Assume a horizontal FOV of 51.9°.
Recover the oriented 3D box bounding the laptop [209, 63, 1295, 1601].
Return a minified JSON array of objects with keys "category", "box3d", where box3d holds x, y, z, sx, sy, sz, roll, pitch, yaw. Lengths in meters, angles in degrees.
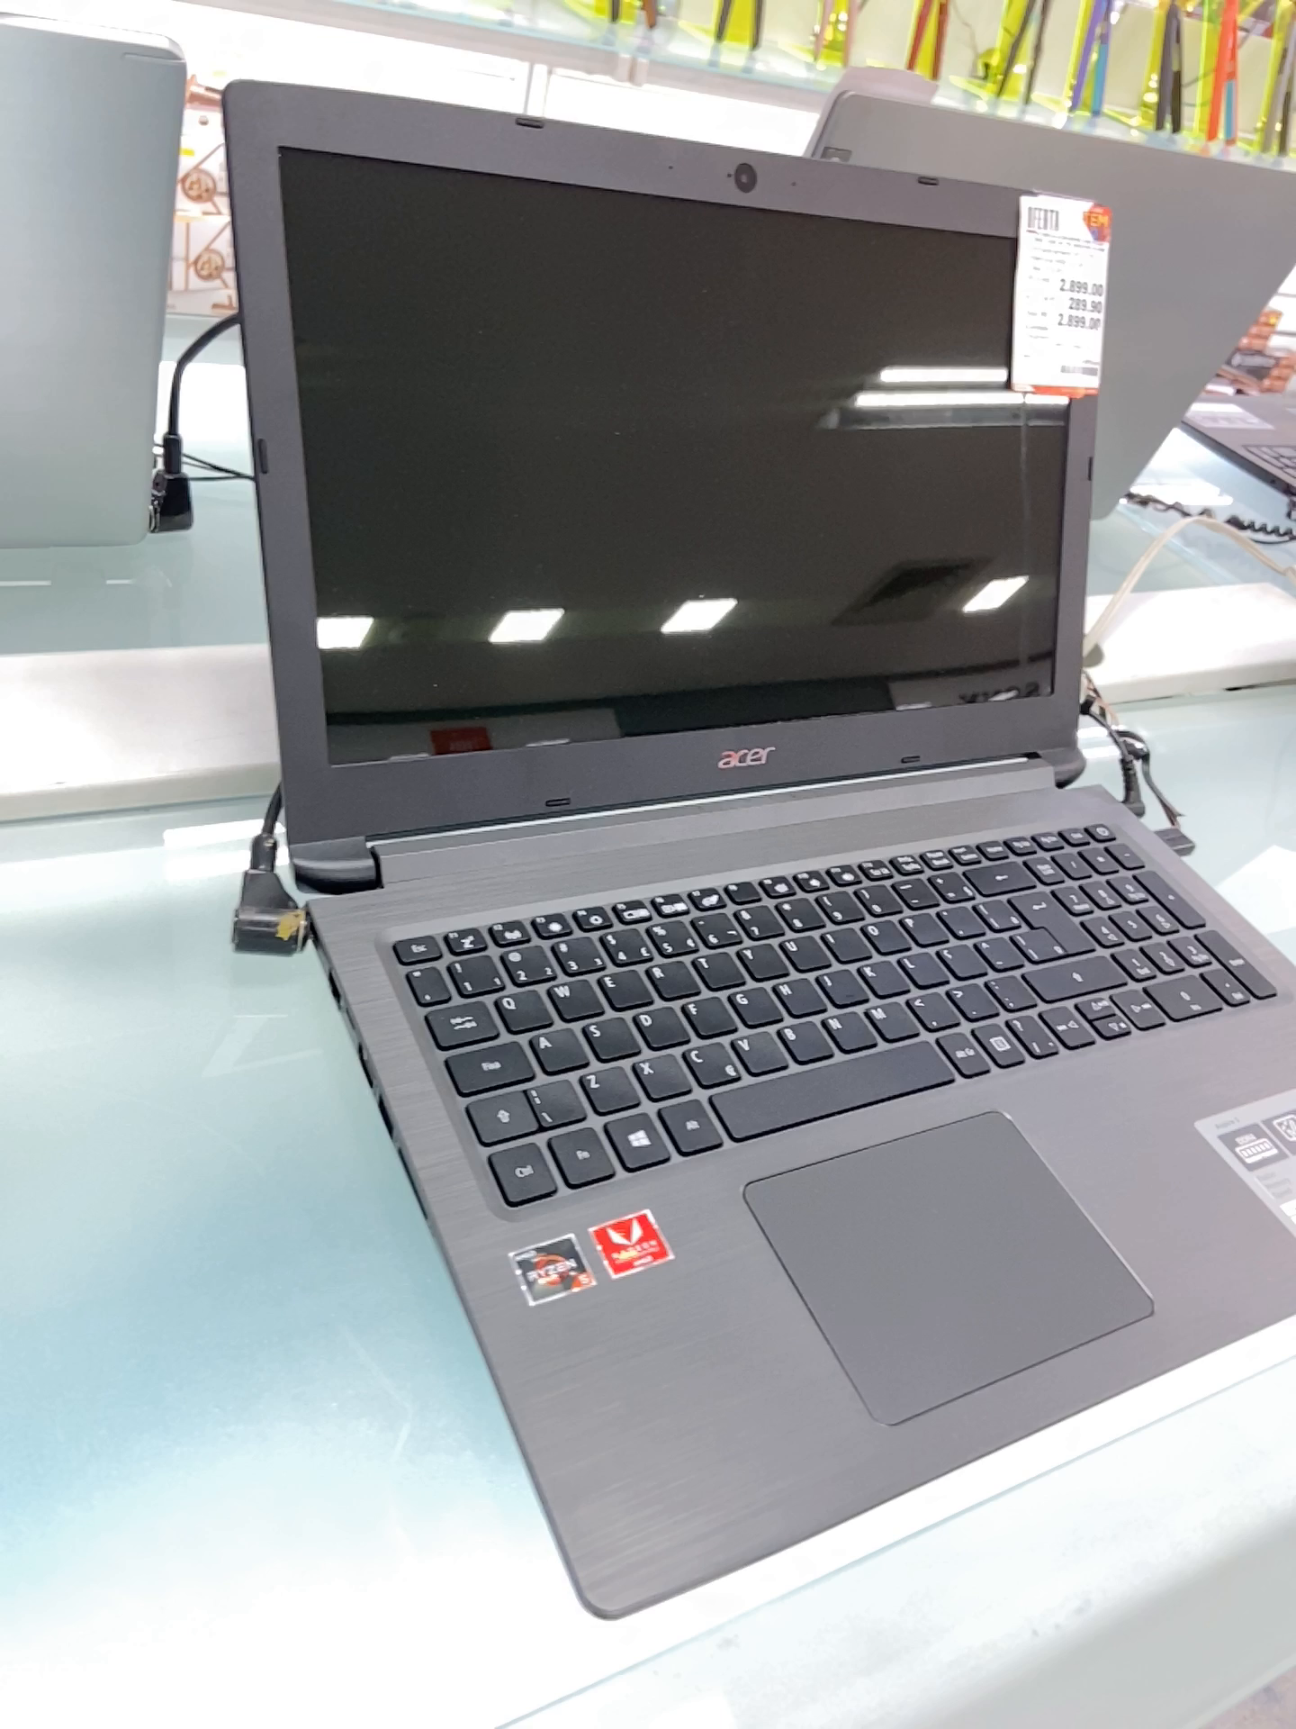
[{"category":"laptop","box3d":[0.084,-0.061,0.404,0.341,0.194,0.354,-8,44,-28]}]
